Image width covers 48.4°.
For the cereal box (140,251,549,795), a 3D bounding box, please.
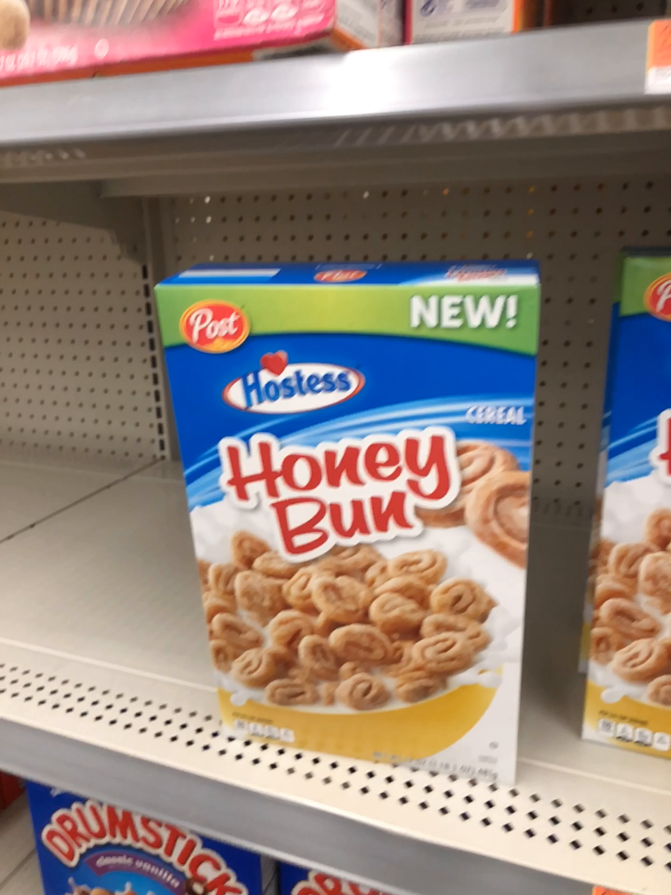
[{"bbox_3d":[0.013,0.048,0.441,0.200,0.309,0.060,3,24,16],"label":"cereal box"}]
